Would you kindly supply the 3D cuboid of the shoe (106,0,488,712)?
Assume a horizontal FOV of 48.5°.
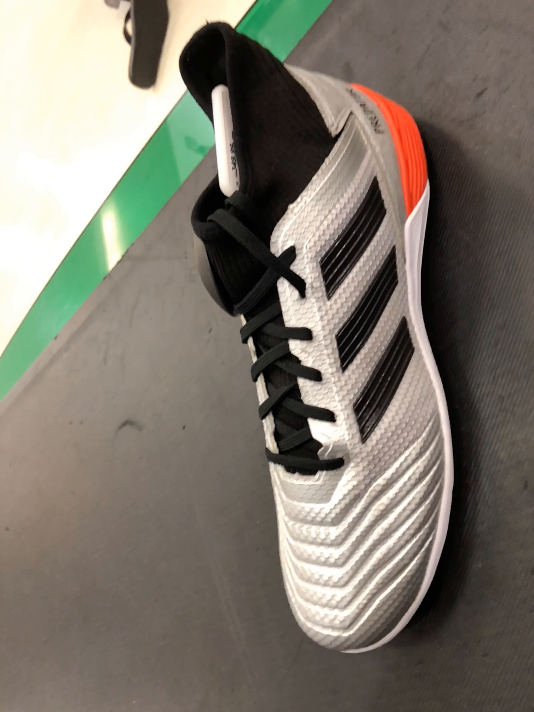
[{"bbox_3d":[0.018,0.007,0.268,0.090,0.139,0.250,-8,79,47],"label":"shoe"}]
